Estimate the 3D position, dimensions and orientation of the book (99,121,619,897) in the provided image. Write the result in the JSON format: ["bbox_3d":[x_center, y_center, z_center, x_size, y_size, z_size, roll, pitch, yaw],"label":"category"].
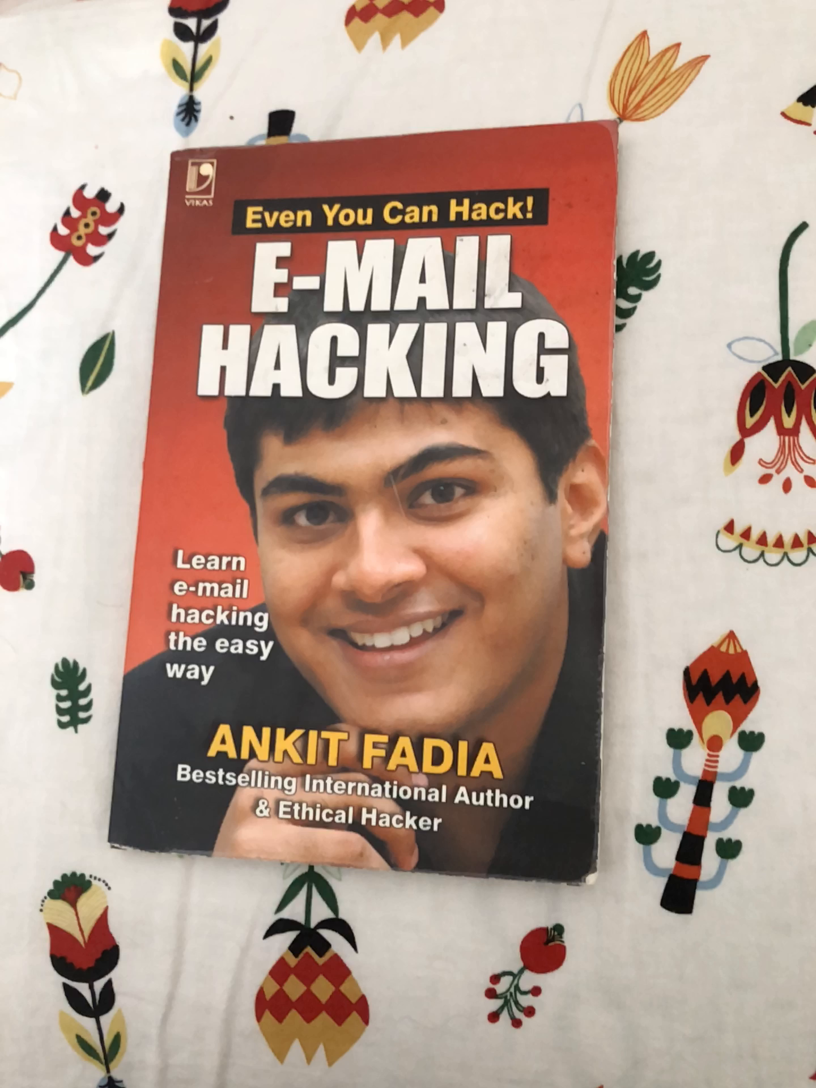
[{"bbox_3d":[-0.013,-0.013,0.260,0.138,0.020,0.204,1,85,11],"label":"book"}]
